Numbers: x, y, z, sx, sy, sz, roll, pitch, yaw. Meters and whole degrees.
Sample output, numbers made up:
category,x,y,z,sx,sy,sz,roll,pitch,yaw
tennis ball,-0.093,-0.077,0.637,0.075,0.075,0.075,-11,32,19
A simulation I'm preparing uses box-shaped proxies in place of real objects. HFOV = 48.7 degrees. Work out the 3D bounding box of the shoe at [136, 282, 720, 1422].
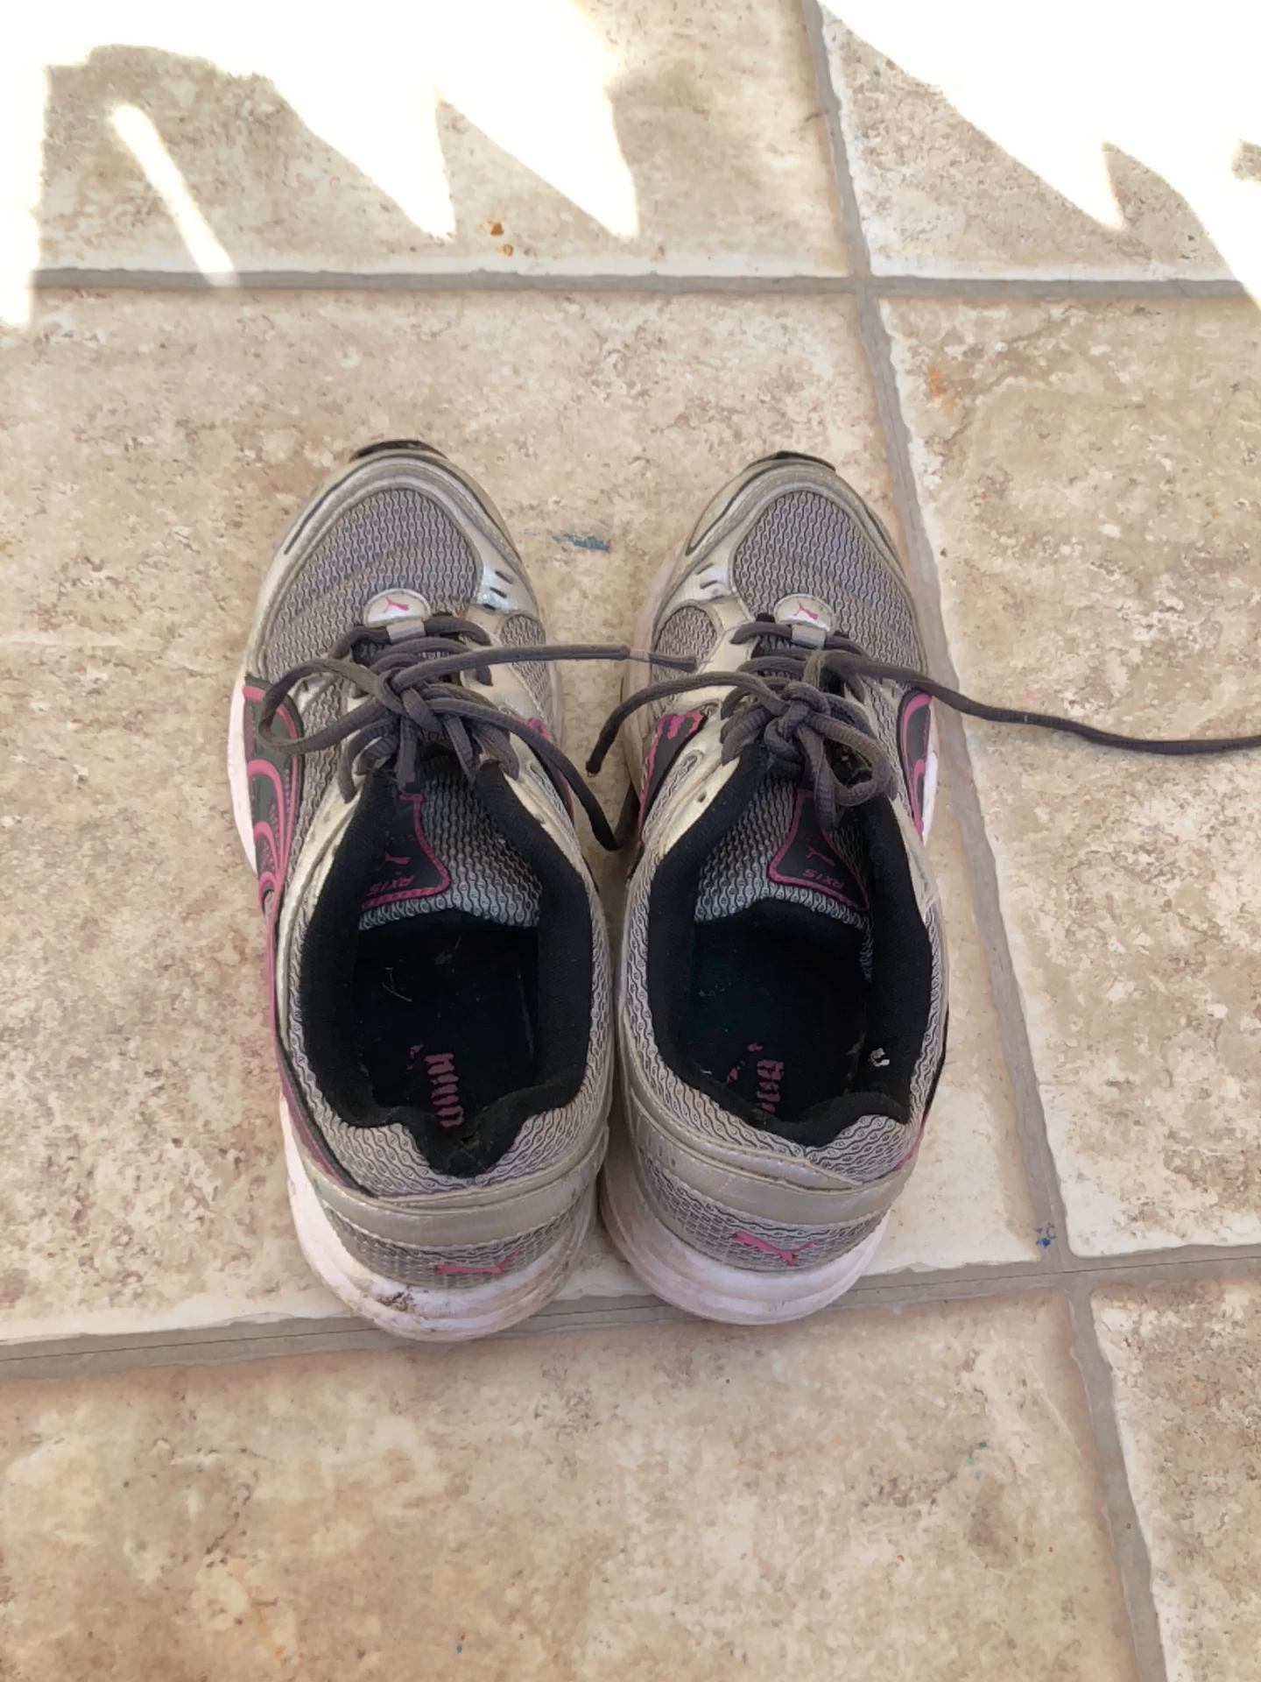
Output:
category,x,y,z,sx,sy,sz,roll,pitch,yaw
shoe,-0.062,0.003,0.382,0.110,0.140,0.271,-5,66,-8

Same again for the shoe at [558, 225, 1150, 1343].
category,x,y,z,sx,sy,sz,roll,pitch,yaw
shoe,0.048,-0.012,0.390,0.110,0.140,0.271,5,65,-3
